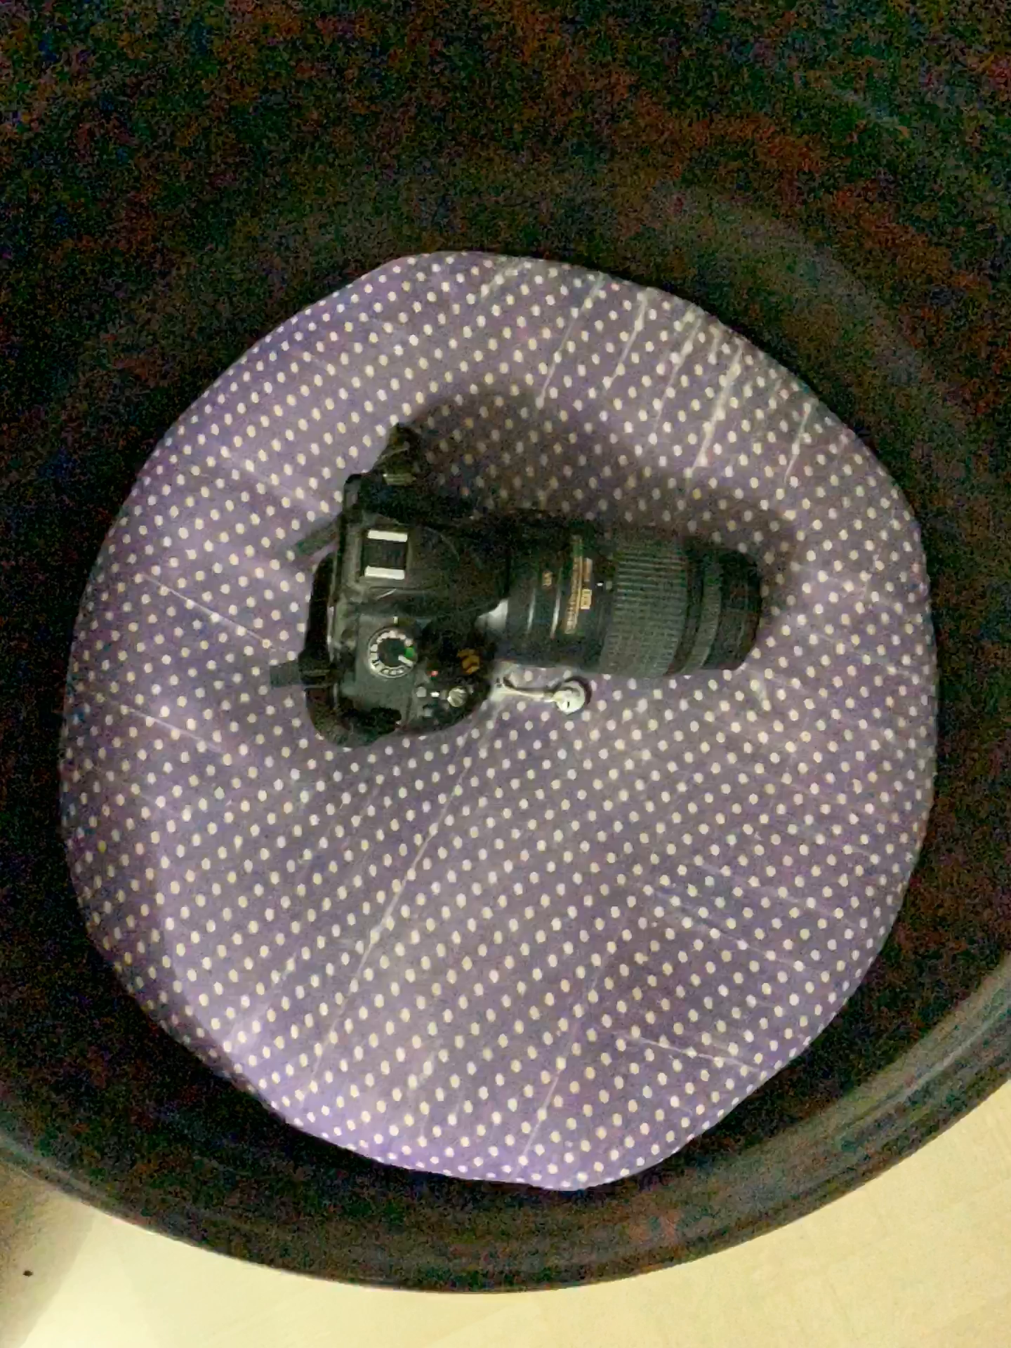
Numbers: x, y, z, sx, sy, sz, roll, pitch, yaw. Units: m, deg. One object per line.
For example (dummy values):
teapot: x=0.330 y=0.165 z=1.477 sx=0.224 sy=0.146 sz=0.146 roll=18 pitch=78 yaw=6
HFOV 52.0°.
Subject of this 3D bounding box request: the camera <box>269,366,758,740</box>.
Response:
camera: x=0.001 y=-0.046 z=0.479 sx=0.200 sy=0.100 sz=0.140 roll=3 pitch=84 yaw=-8
